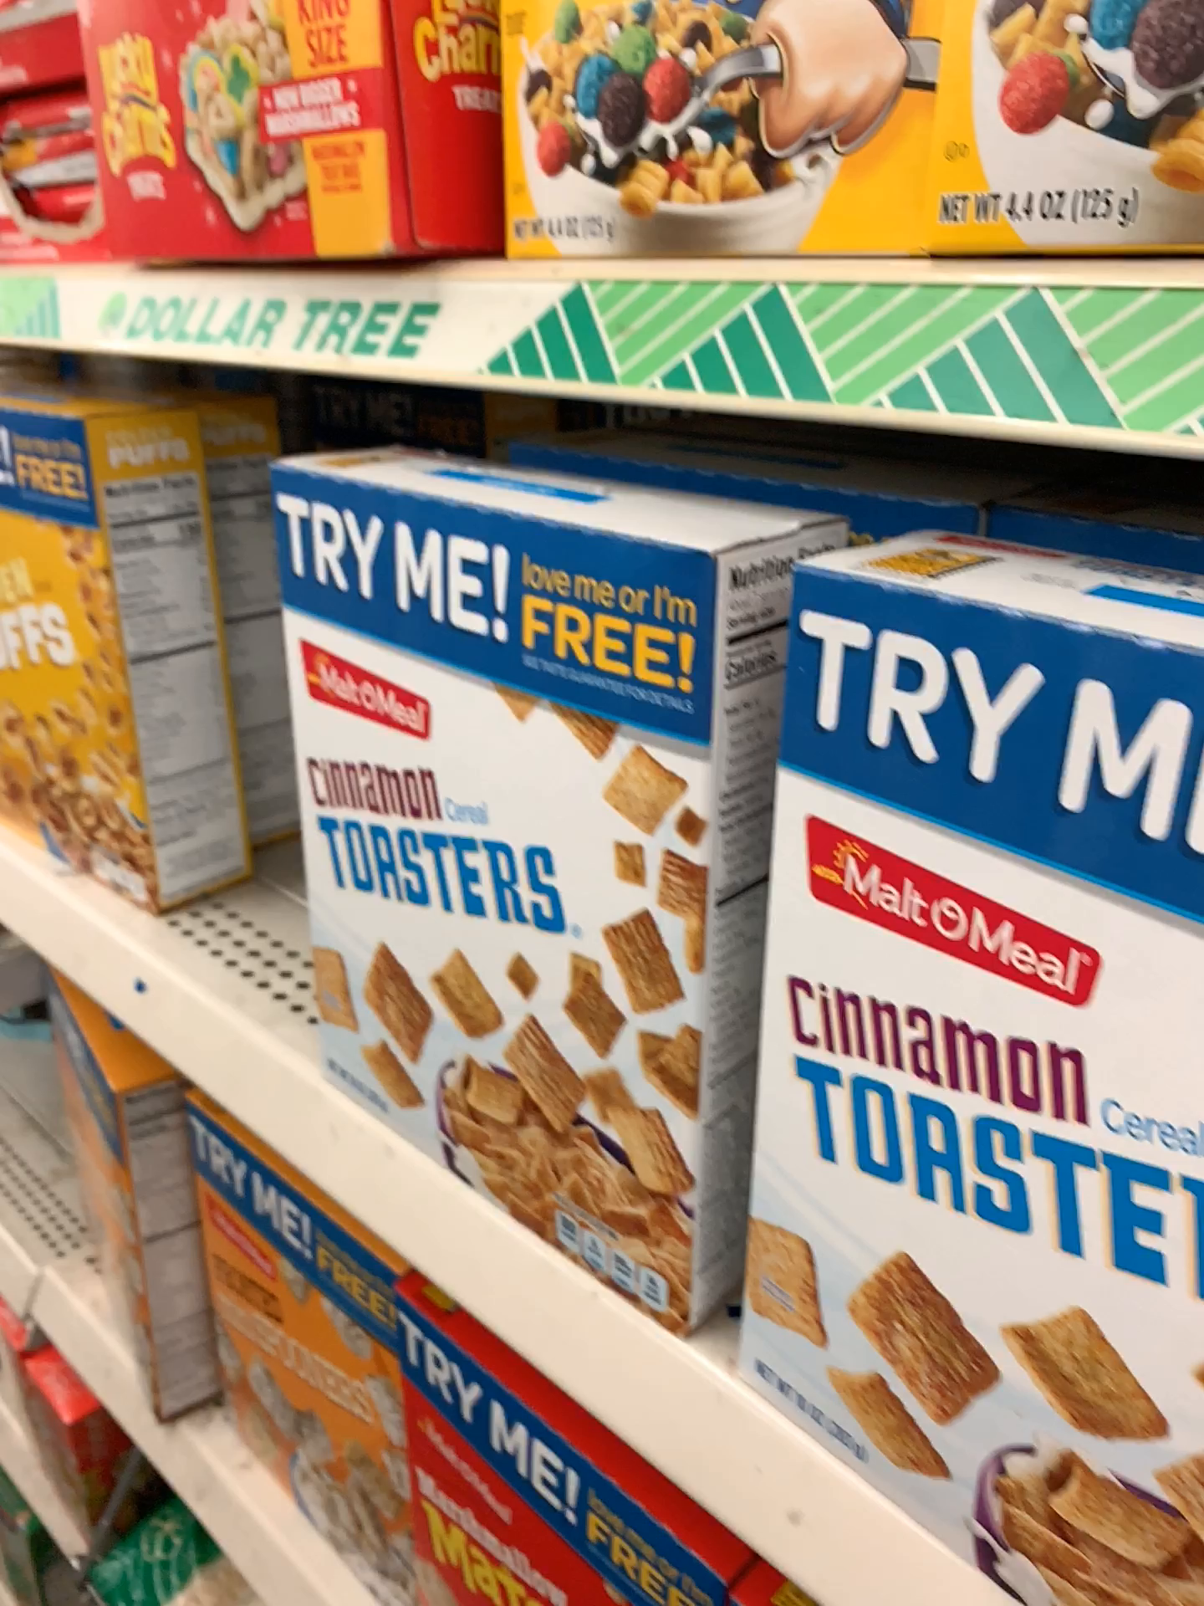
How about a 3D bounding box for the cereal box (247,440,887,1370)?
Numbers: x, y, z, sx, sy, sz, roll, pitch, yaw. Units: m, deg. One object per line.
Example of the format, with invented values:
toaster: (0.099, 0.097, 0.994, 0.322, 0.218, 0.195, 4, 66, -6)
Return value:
cereal box: (-0.018, 0.019, 0.350, 0.170, 0.209, 0.050, 21, 32, 38)
